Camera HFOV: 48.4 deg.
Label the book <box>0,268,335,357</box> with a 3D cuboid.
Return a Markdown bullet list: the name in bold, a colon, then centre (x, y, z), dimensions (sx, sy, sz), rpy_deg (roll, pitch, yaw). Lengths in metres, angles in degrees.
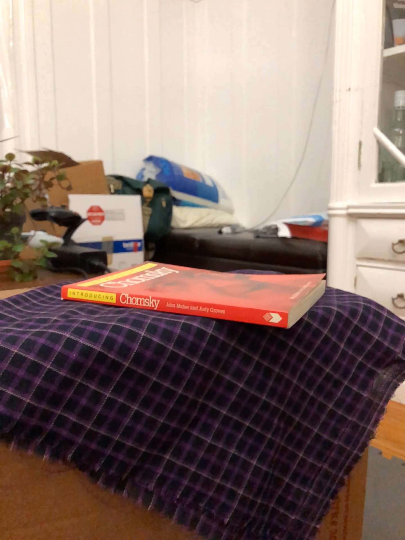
- **book**: centre (-0.019, 0.025, 0.403), dimensions (0.240, 0.020, 0.180), rpy_deg (3, 9, 24)
